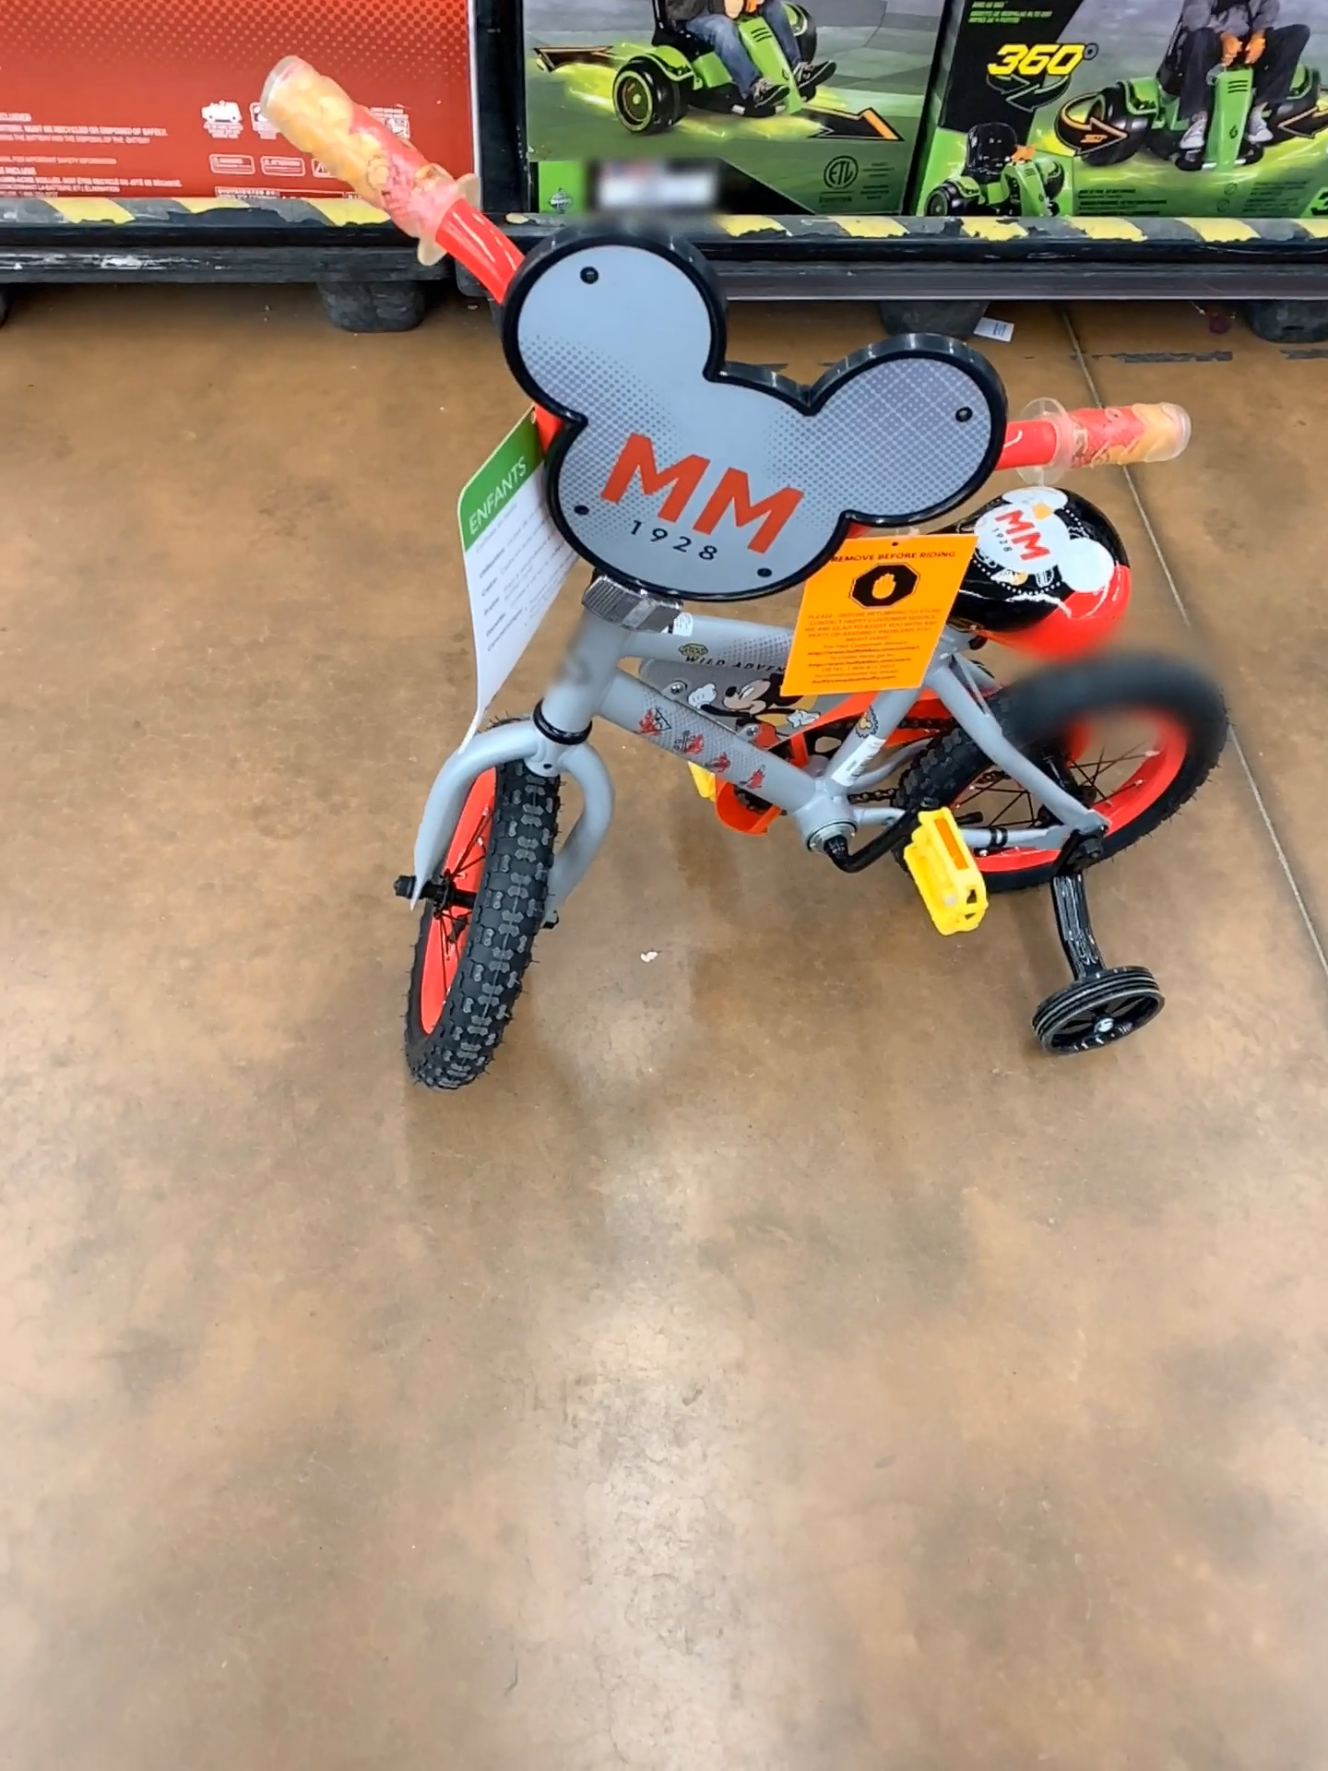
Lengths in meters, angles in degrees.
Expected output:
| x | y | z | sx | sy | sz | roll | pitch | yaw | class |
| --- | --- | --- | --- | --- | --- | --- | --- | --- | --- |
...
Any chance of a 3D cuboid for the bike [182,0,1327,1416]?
| x | y | z | sx | sy | sz | roll | pitch | yaw | class |
| --- | --- | --- | --- | --- | --- | --- | --- | --- | --- |
| 0.154 | -0.103 | 0.917 | 0.679 | 0.742 | 0.450 | -22 | 59 | -15 | bike |
